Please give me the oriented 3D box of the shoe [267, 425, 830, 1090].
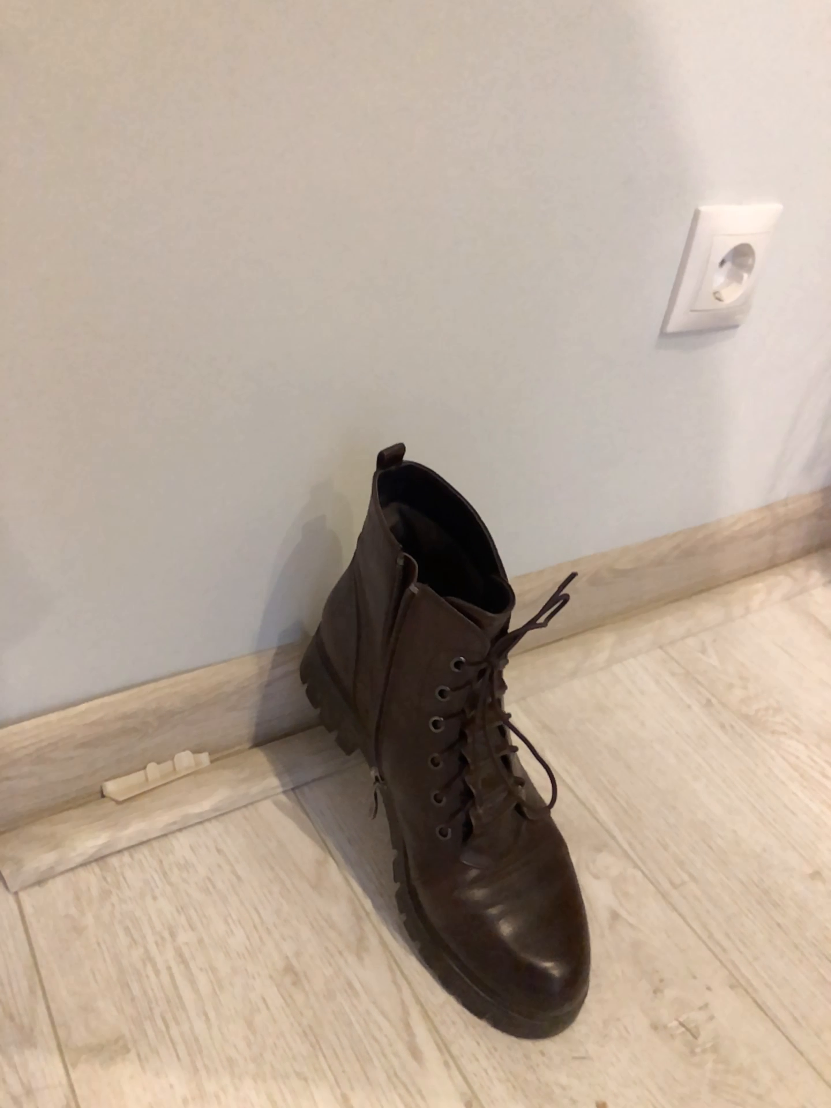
[{"bbox_3d":[0.039,0.098,0.465,0.100,0.179,0.261,-16,60,-30],"label":"shoe"}]
